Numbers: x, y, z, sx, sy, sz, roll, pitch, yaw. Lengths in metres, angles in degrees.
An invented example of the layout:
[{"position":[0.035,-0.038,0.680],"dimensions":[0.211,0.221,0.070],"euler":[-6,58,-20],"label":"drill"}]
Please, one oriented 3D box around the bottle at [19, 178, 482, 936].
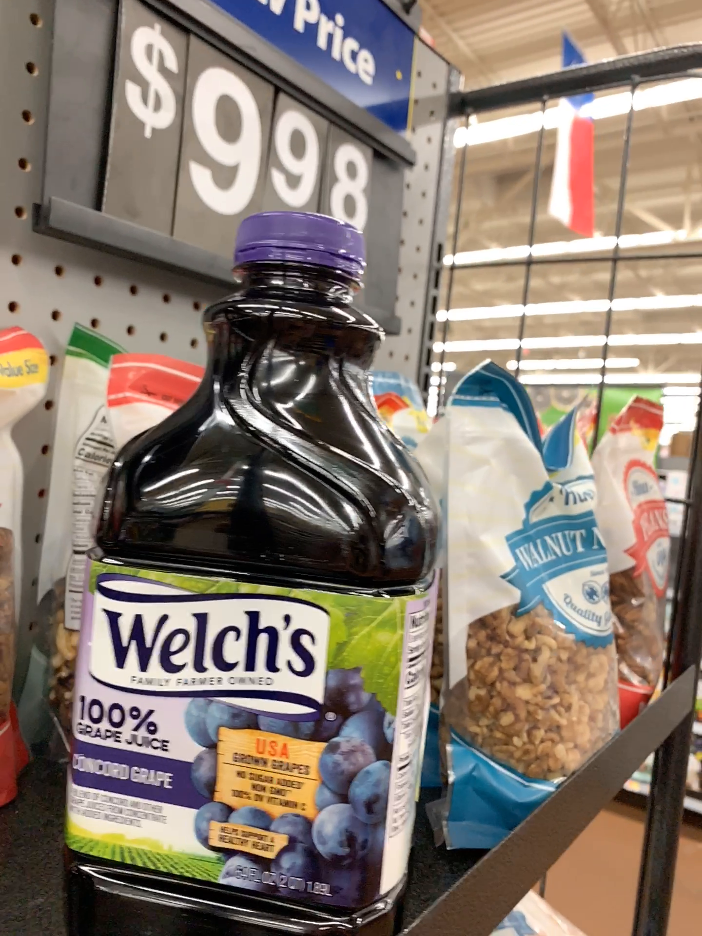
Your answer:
[{"position":[-0.026,0.044,0.266],"dimensions":[0.120,0.260,0.100],"euler":[5,2,12],"label":"bottle"}]
